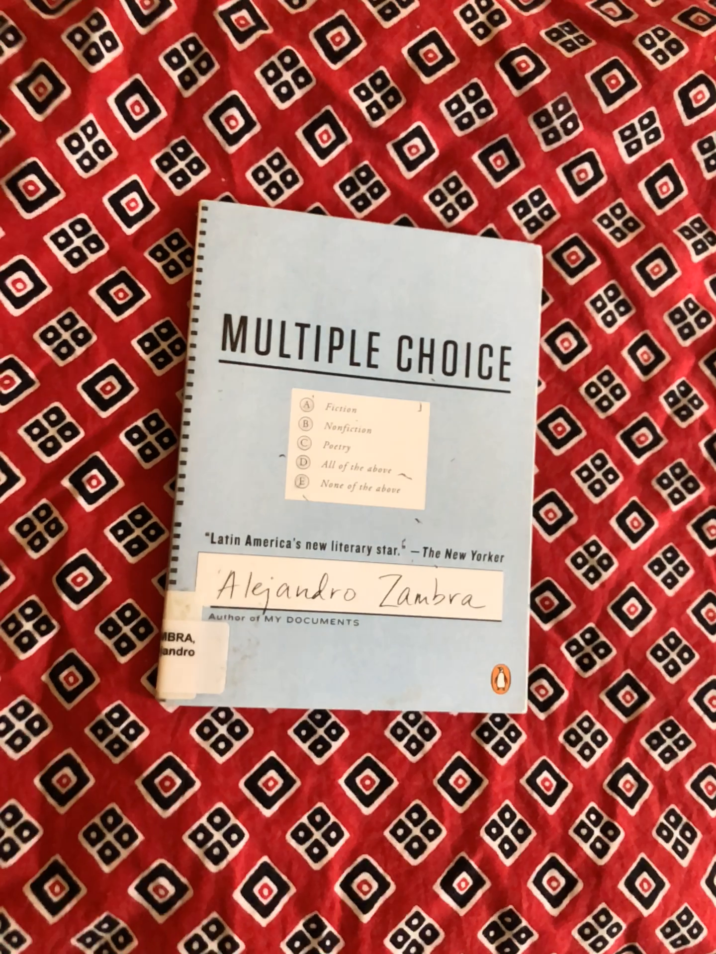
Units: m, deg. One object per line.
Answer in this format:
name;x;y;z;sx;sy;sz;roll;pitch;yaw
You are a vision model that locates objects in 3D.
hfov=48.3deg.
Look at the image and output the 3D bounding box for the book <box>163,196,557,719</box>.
book;0.004;-0.004;0.291;0.133;0.020;0.176;4;84;-12
